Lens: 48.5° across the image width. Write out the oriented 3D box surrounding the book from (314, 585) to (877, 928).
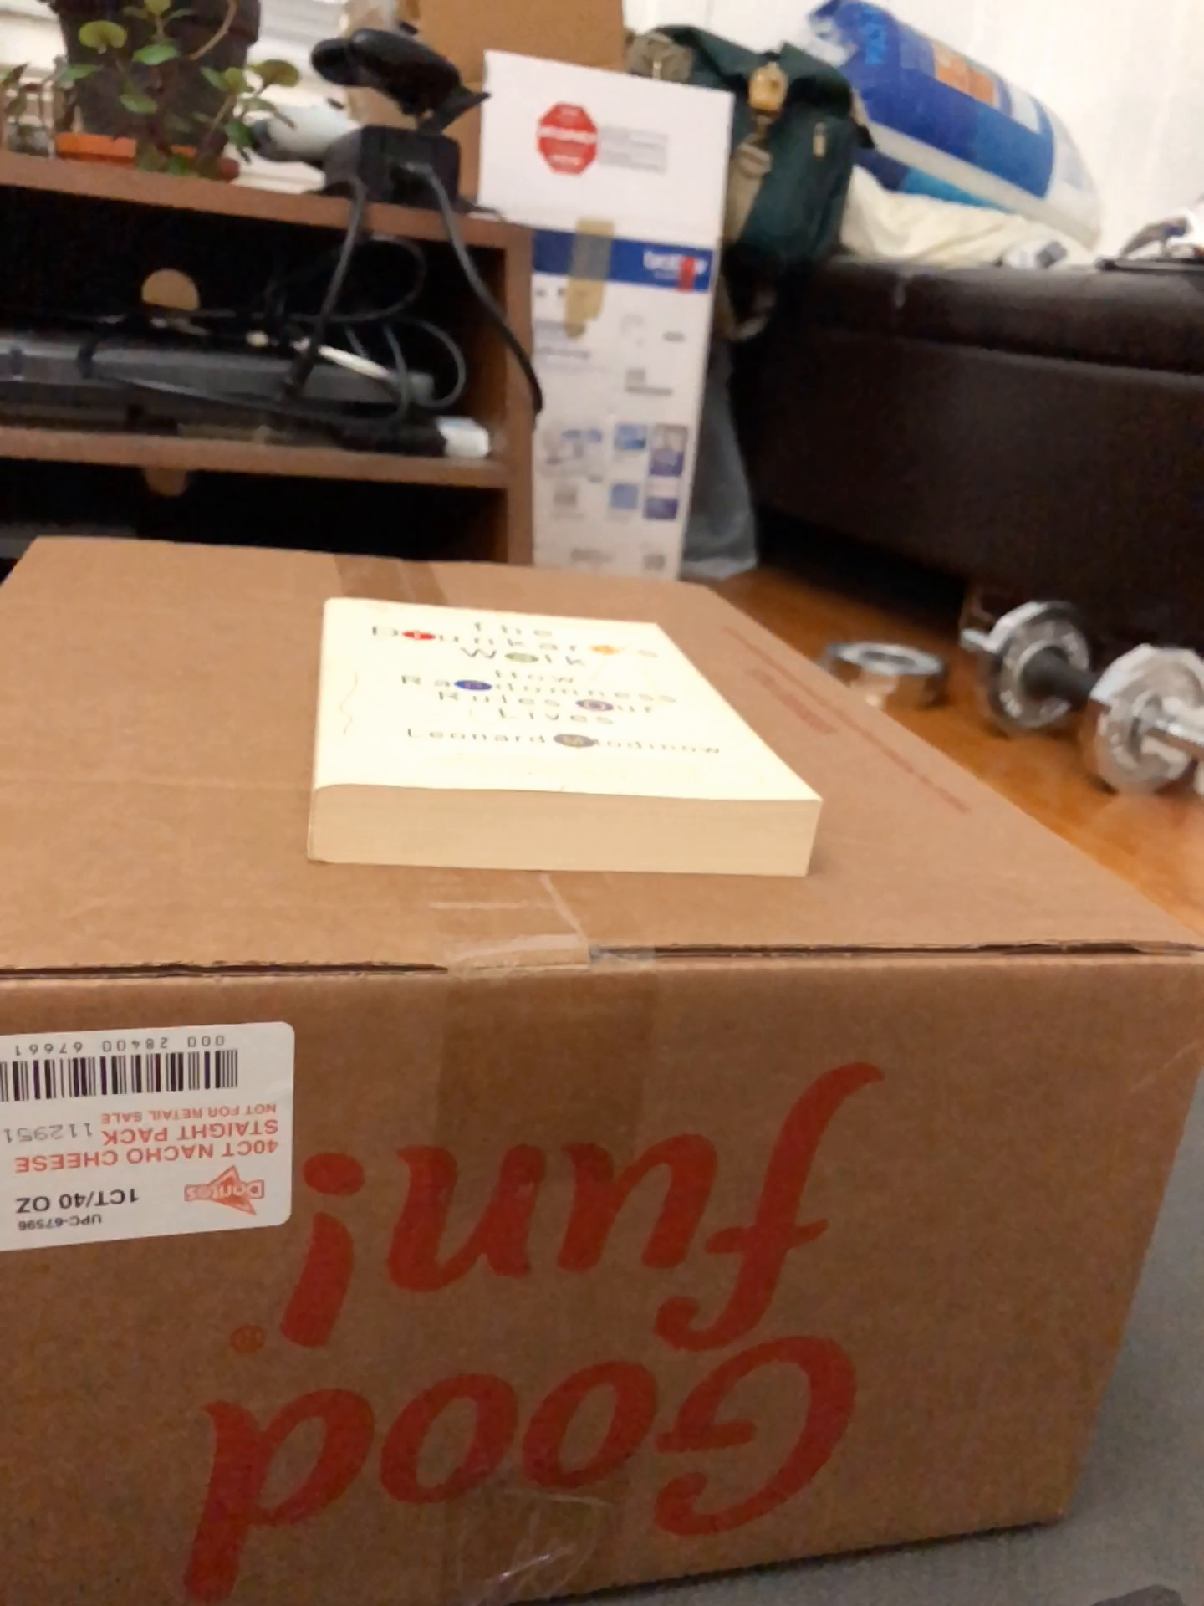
[{"bbox_3d":[-0.019,-0.025,0.431,0.140,0.040,0.211,2,20,-12],"label":"book"}]
